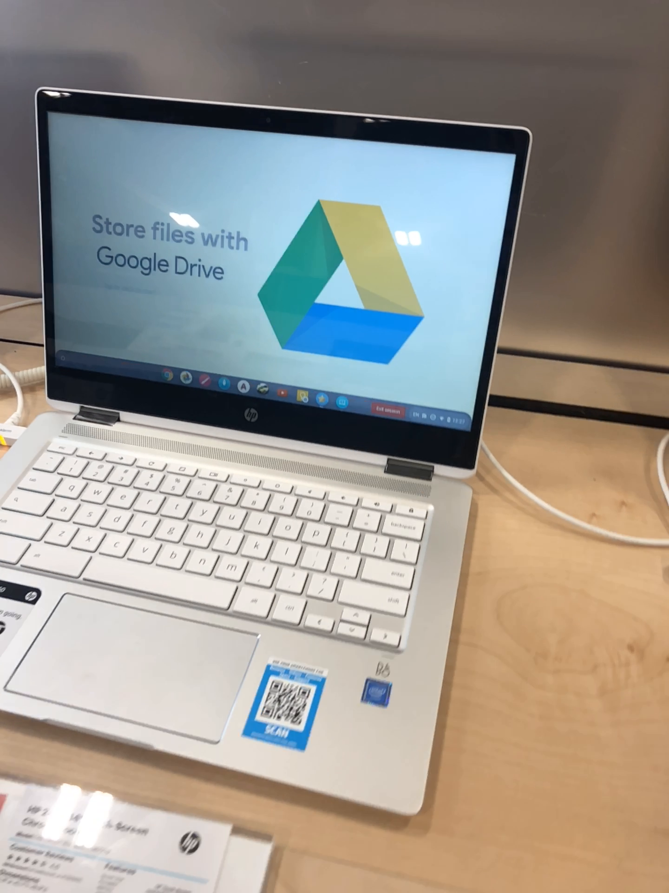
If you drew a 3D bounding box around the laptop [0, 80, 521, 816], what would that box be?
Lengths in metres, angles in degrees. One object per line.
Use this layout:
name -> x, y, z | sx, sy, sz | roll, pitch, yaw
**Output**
laptop -> -0.084, -0.035, 0.423 | 0.323, 0.205, 0.319 | 10, 44, 10
